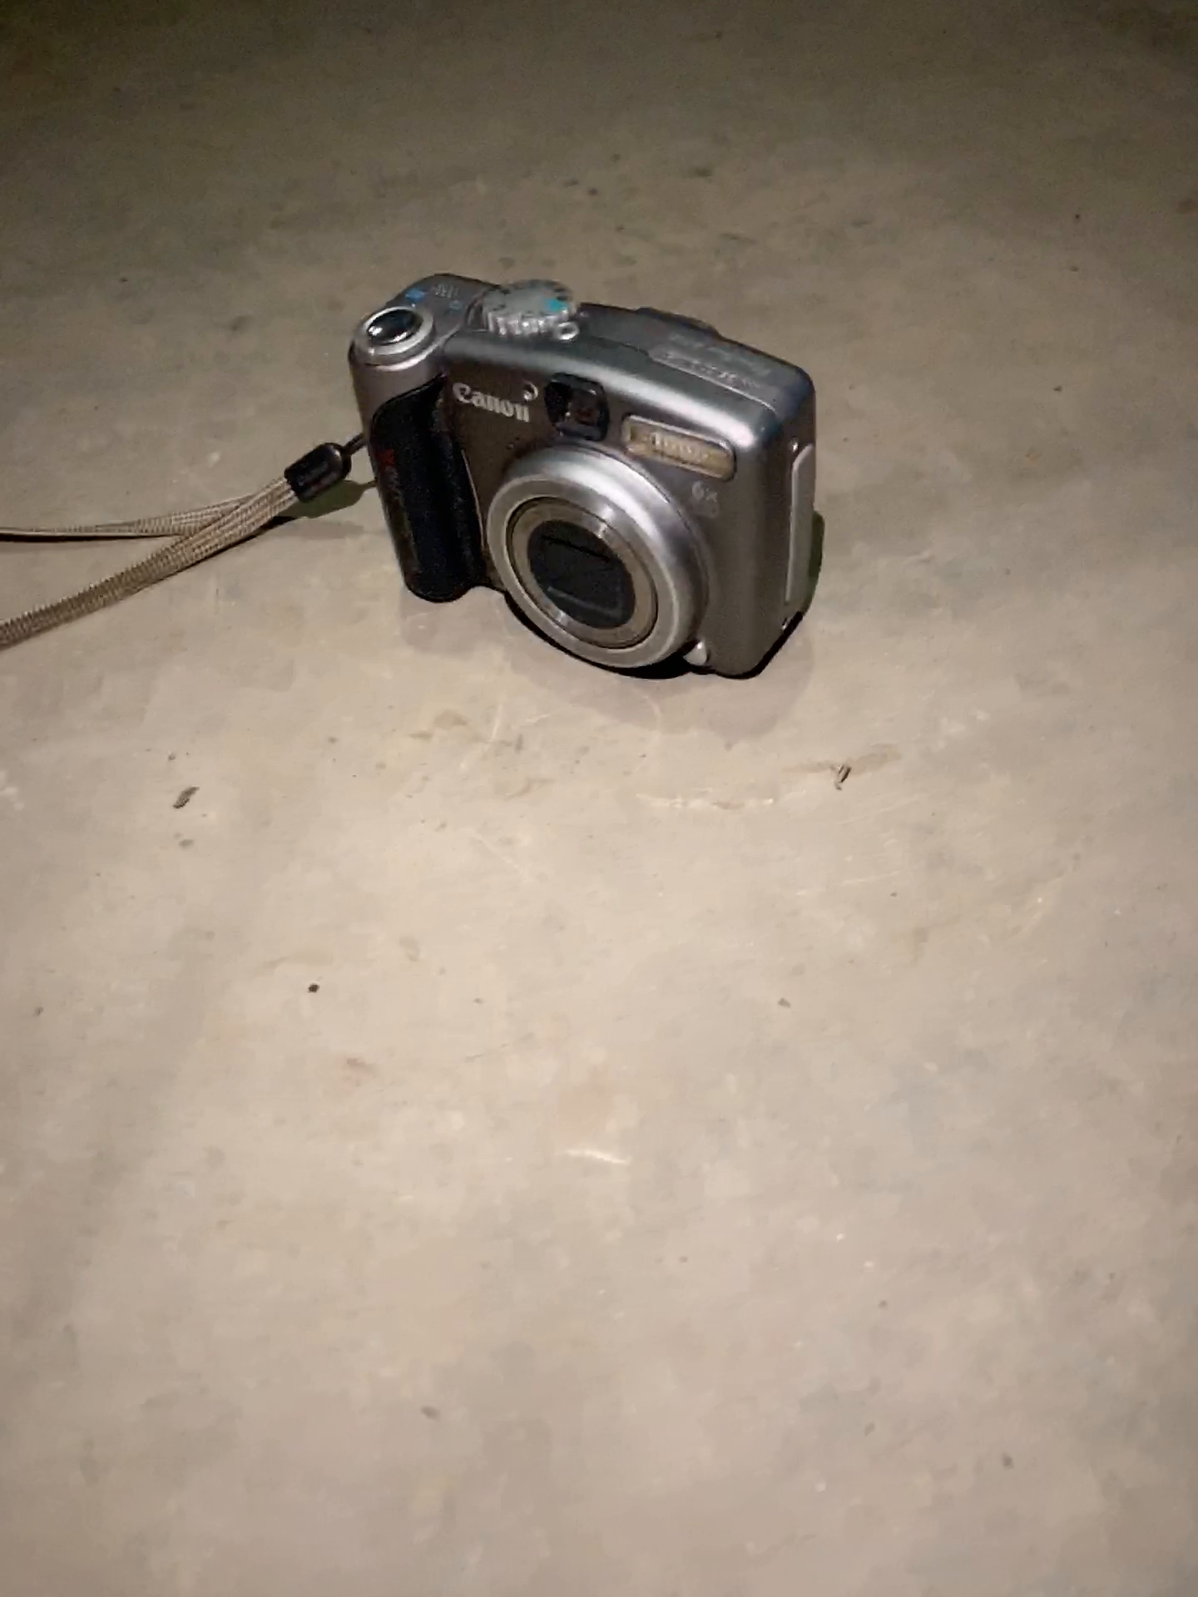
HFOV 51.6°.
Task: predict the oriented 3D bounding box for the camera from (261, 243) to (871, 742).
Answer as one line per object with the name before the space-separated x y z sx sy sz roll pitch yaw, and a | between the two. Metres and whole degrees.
camera | -0.007 -0.066 0.259 0.109 0.060 0.048 23 53 22
